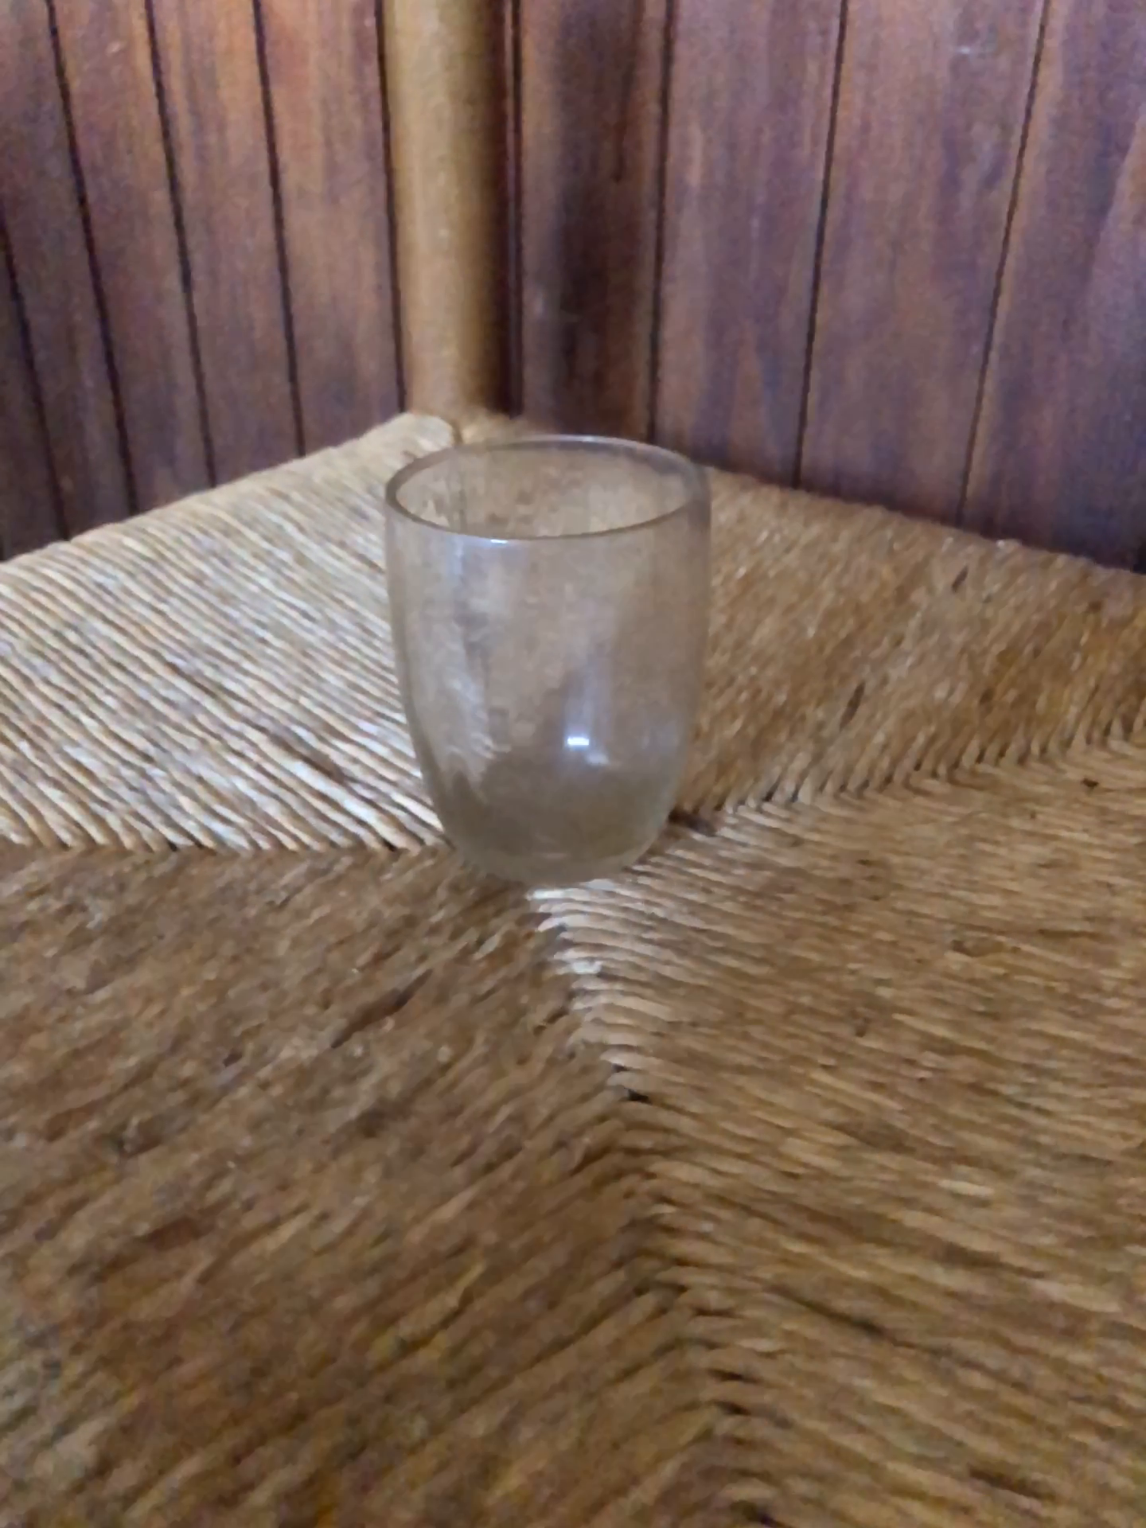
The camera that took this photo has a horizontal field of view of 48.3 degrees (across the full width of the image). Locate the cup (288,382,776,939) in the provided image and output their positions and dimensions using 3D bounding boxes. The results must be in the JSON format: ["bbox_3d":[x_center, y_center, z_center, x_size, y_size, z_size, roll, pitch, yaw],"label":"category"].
[{"bbox_3d":[-0.011,-0.025,0.261,0.070,0.080,0.070,0,32,0],"label":"cup"}]
